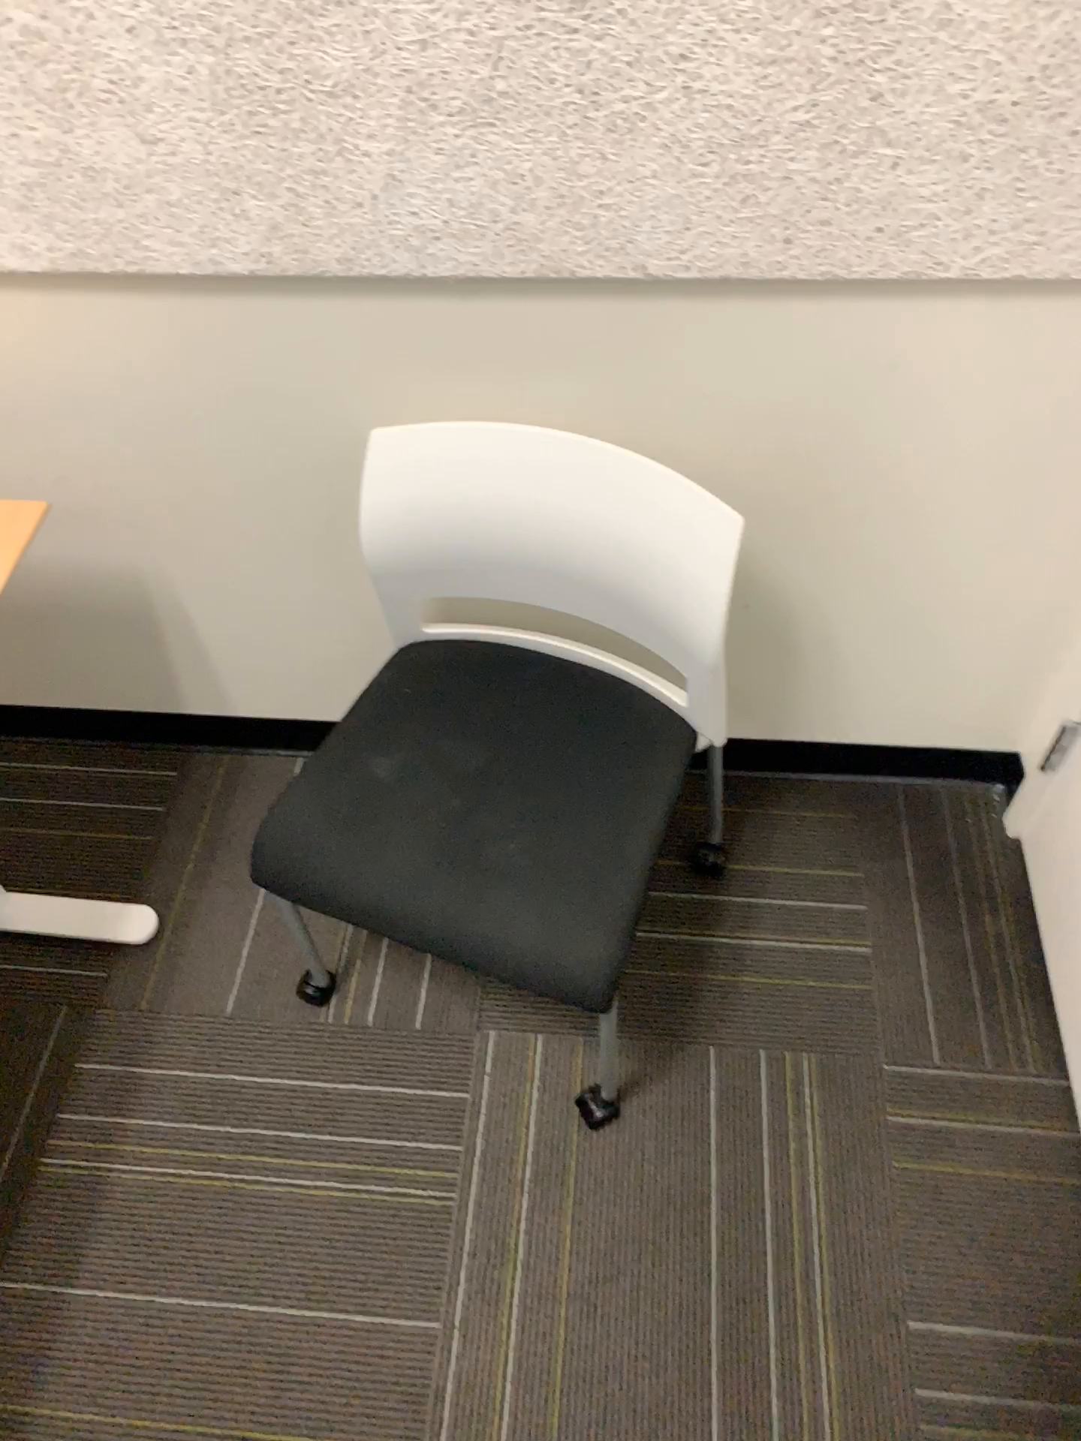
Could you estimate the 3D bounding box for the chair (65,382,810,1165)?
[{"bbox_3d":[-0.063,0.093,1.407,0.581,0.737,0.541,17,56,15],"label":"chair"}]
